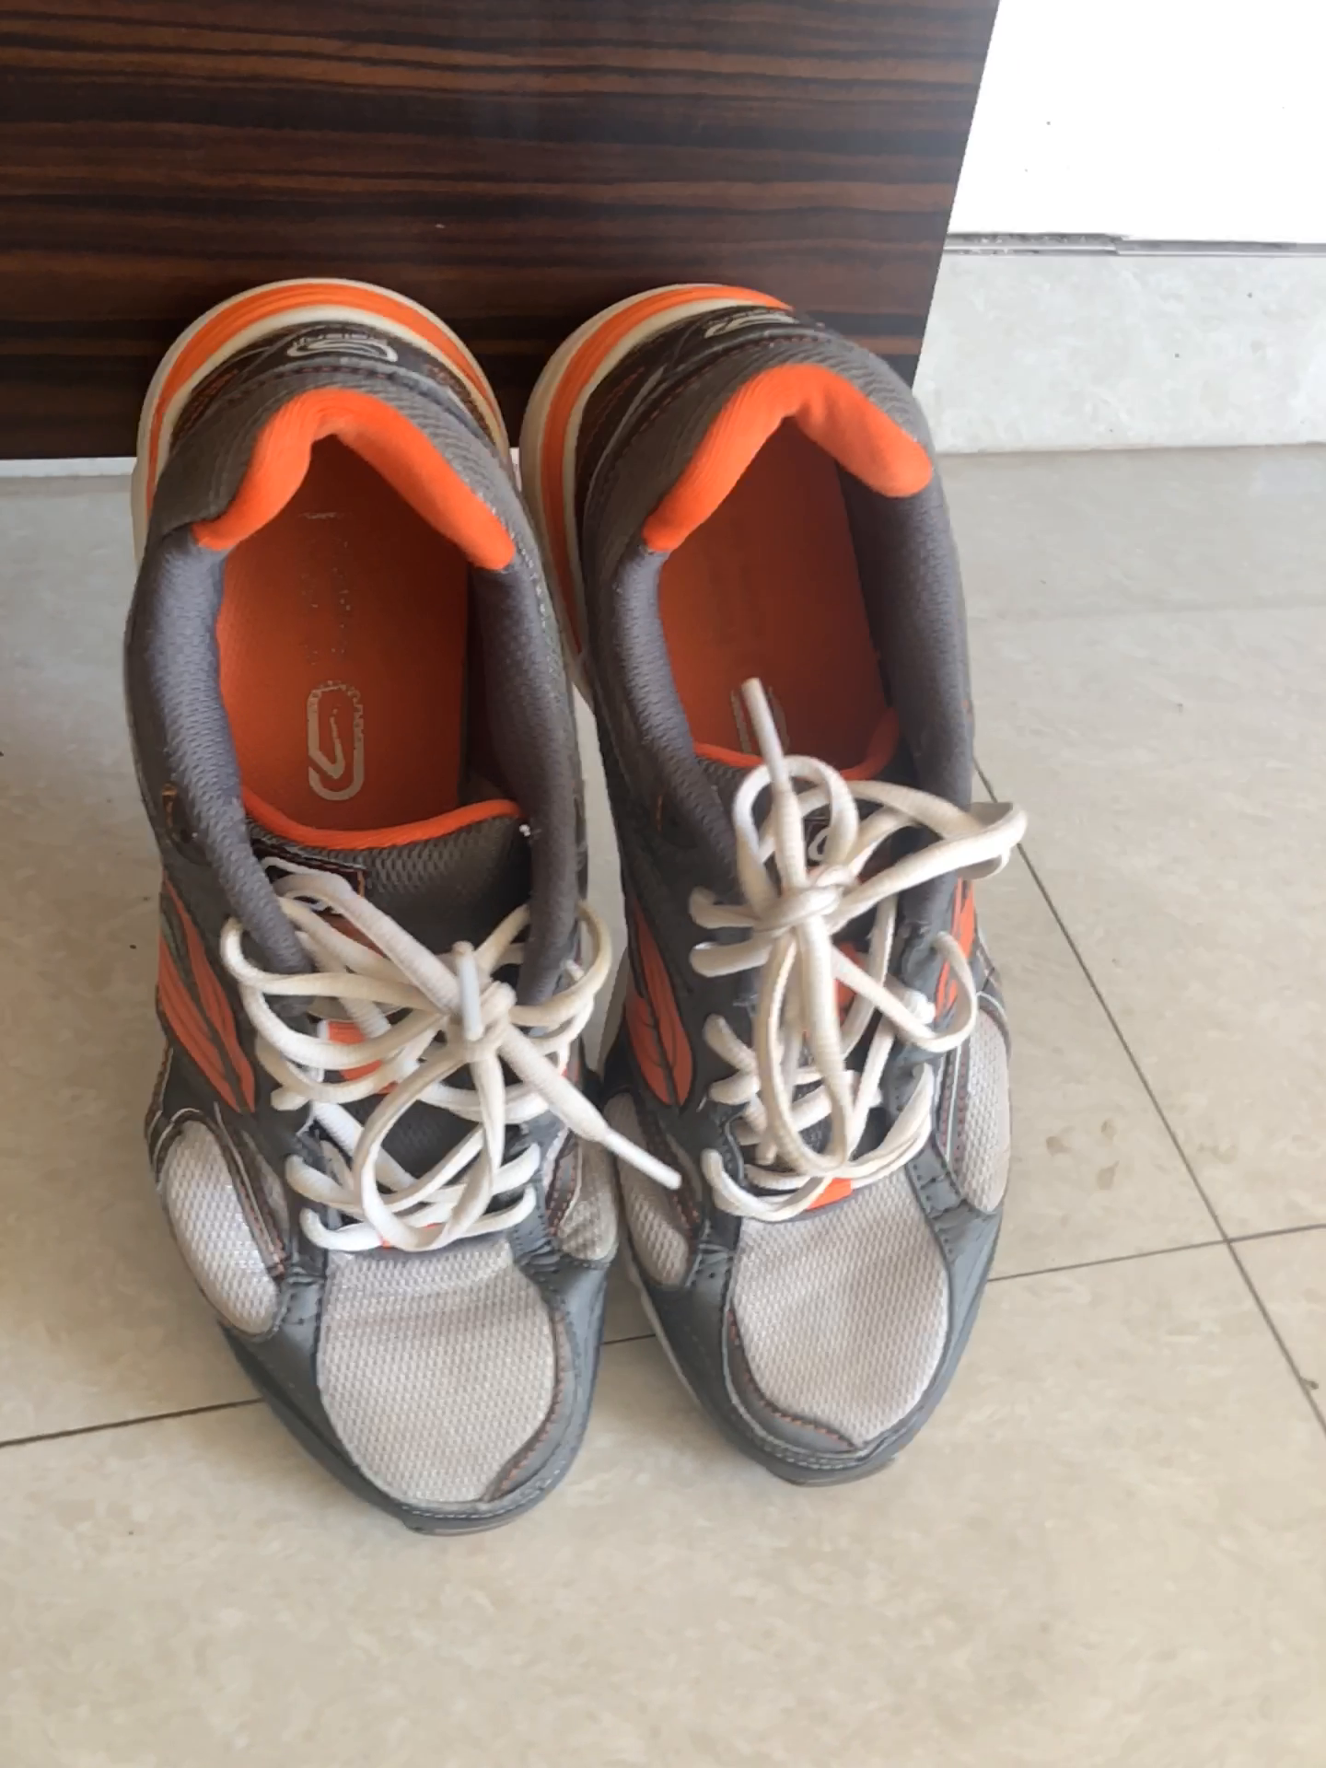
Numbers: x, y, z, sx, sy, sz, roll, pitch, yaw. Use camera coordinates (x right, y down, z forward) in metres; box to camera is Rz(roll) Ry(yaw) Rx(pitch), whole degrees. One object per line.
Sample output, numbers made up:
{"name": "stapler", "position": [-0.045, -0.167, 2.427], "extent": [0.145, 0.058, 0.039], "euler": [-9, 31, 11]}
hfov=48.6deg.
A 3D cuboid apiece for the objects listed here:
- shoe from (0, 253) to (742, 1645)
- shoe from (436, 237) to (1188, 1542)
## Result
{"name": "shoe", "position": [-0.059, 0.010, 0.321], "extent": [0.120, 0.269, 0.100], "euler": [-10, 25, -18]}
{"name": "shoe", "position": [0.028, -0.002, 0.339], "extent": [0.120, 0.259, 0.110], "euler": [-8, 22, -11]}
